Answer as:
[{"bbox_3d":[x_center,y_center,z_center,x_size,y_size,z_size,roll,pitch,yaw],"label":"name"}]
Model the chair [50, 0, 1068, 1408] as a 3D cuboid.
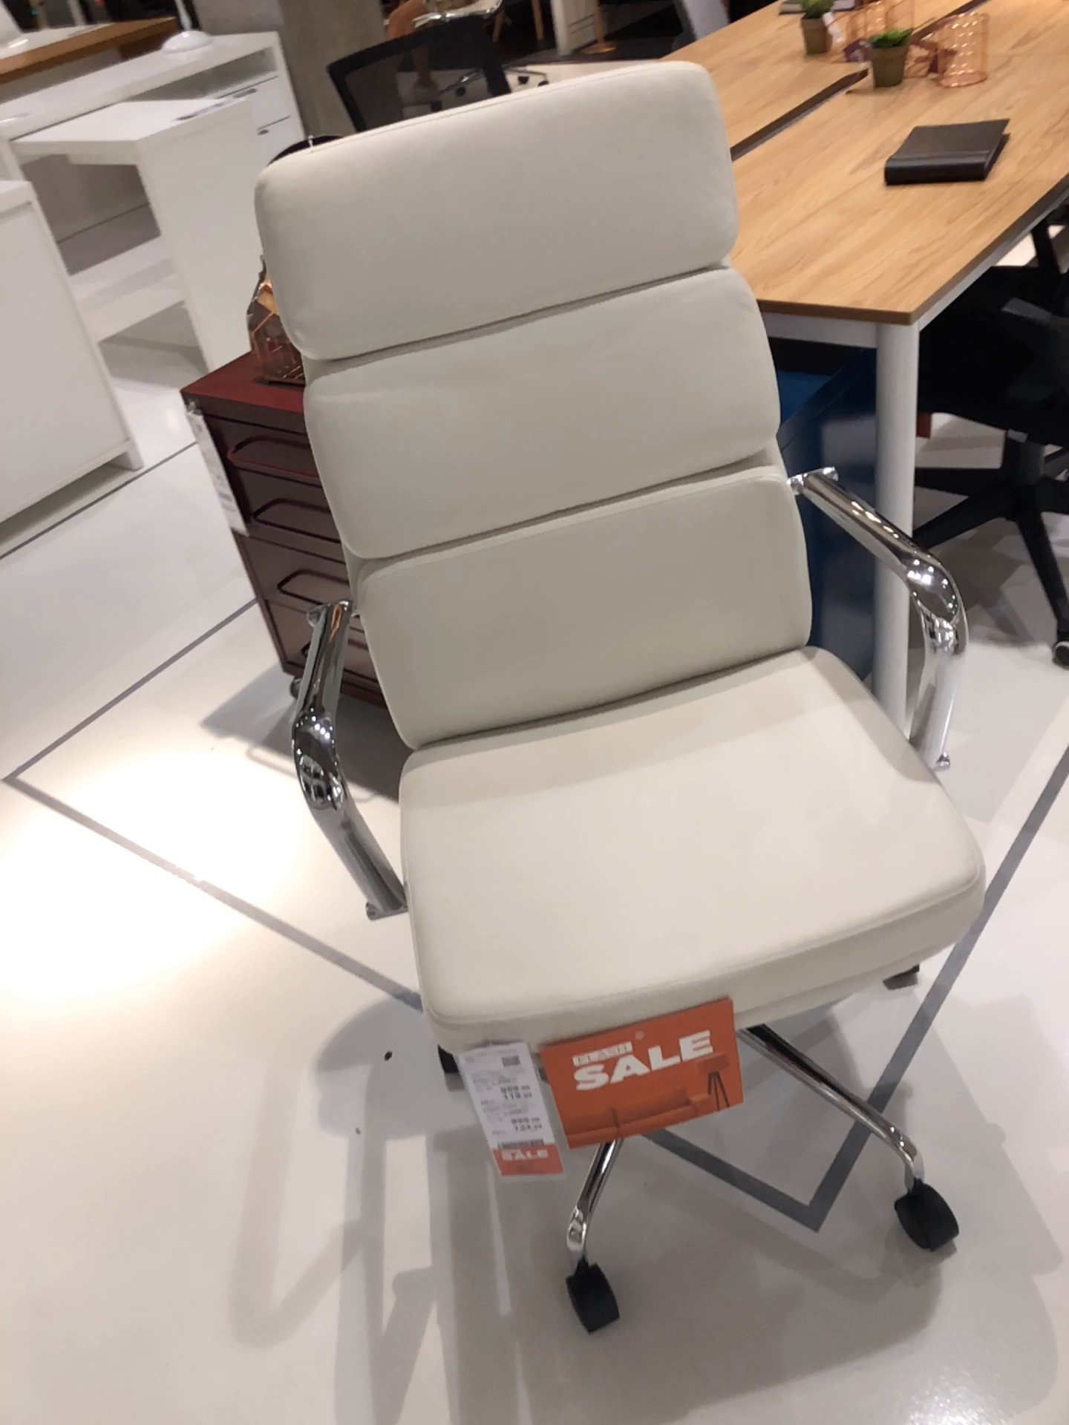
[{"bbox_3d":[0.125,0.008,1.108,0.660,1.012,0.655,-14,37,-3],"label":"chair"}]
